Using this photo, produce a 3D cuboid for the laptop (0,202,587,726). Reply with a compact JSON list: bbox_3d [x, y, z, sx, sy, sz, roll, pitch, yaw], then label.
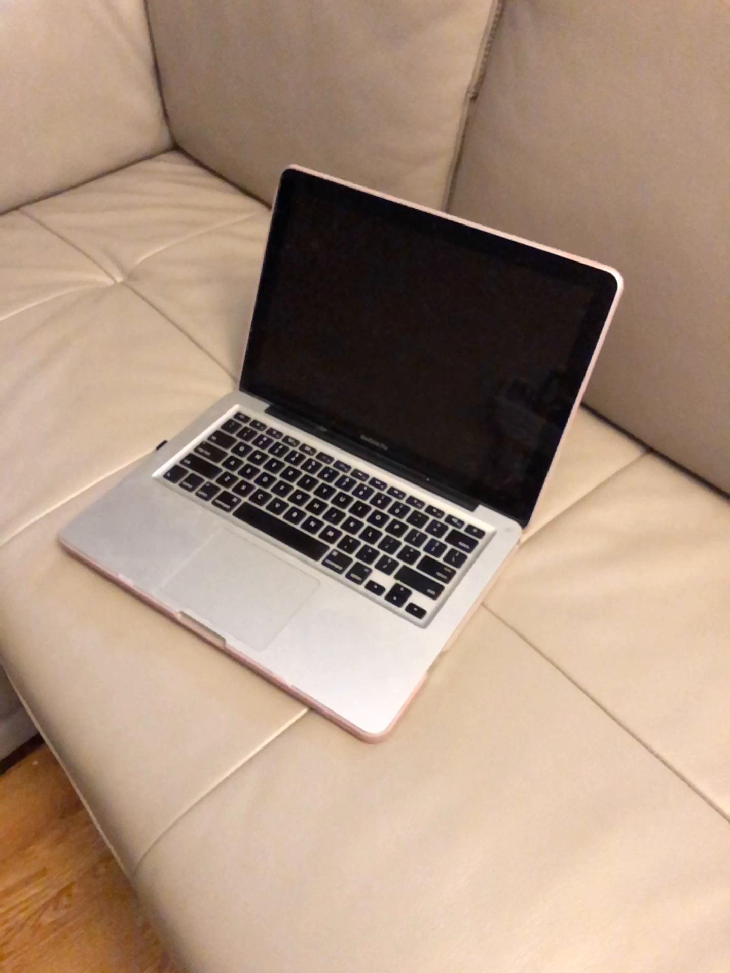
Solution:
[{"bbox_3d":[-0.044,-0.045,0.620,0.306,0.177,0.306,26,50,23],"label":"laptop"}]
